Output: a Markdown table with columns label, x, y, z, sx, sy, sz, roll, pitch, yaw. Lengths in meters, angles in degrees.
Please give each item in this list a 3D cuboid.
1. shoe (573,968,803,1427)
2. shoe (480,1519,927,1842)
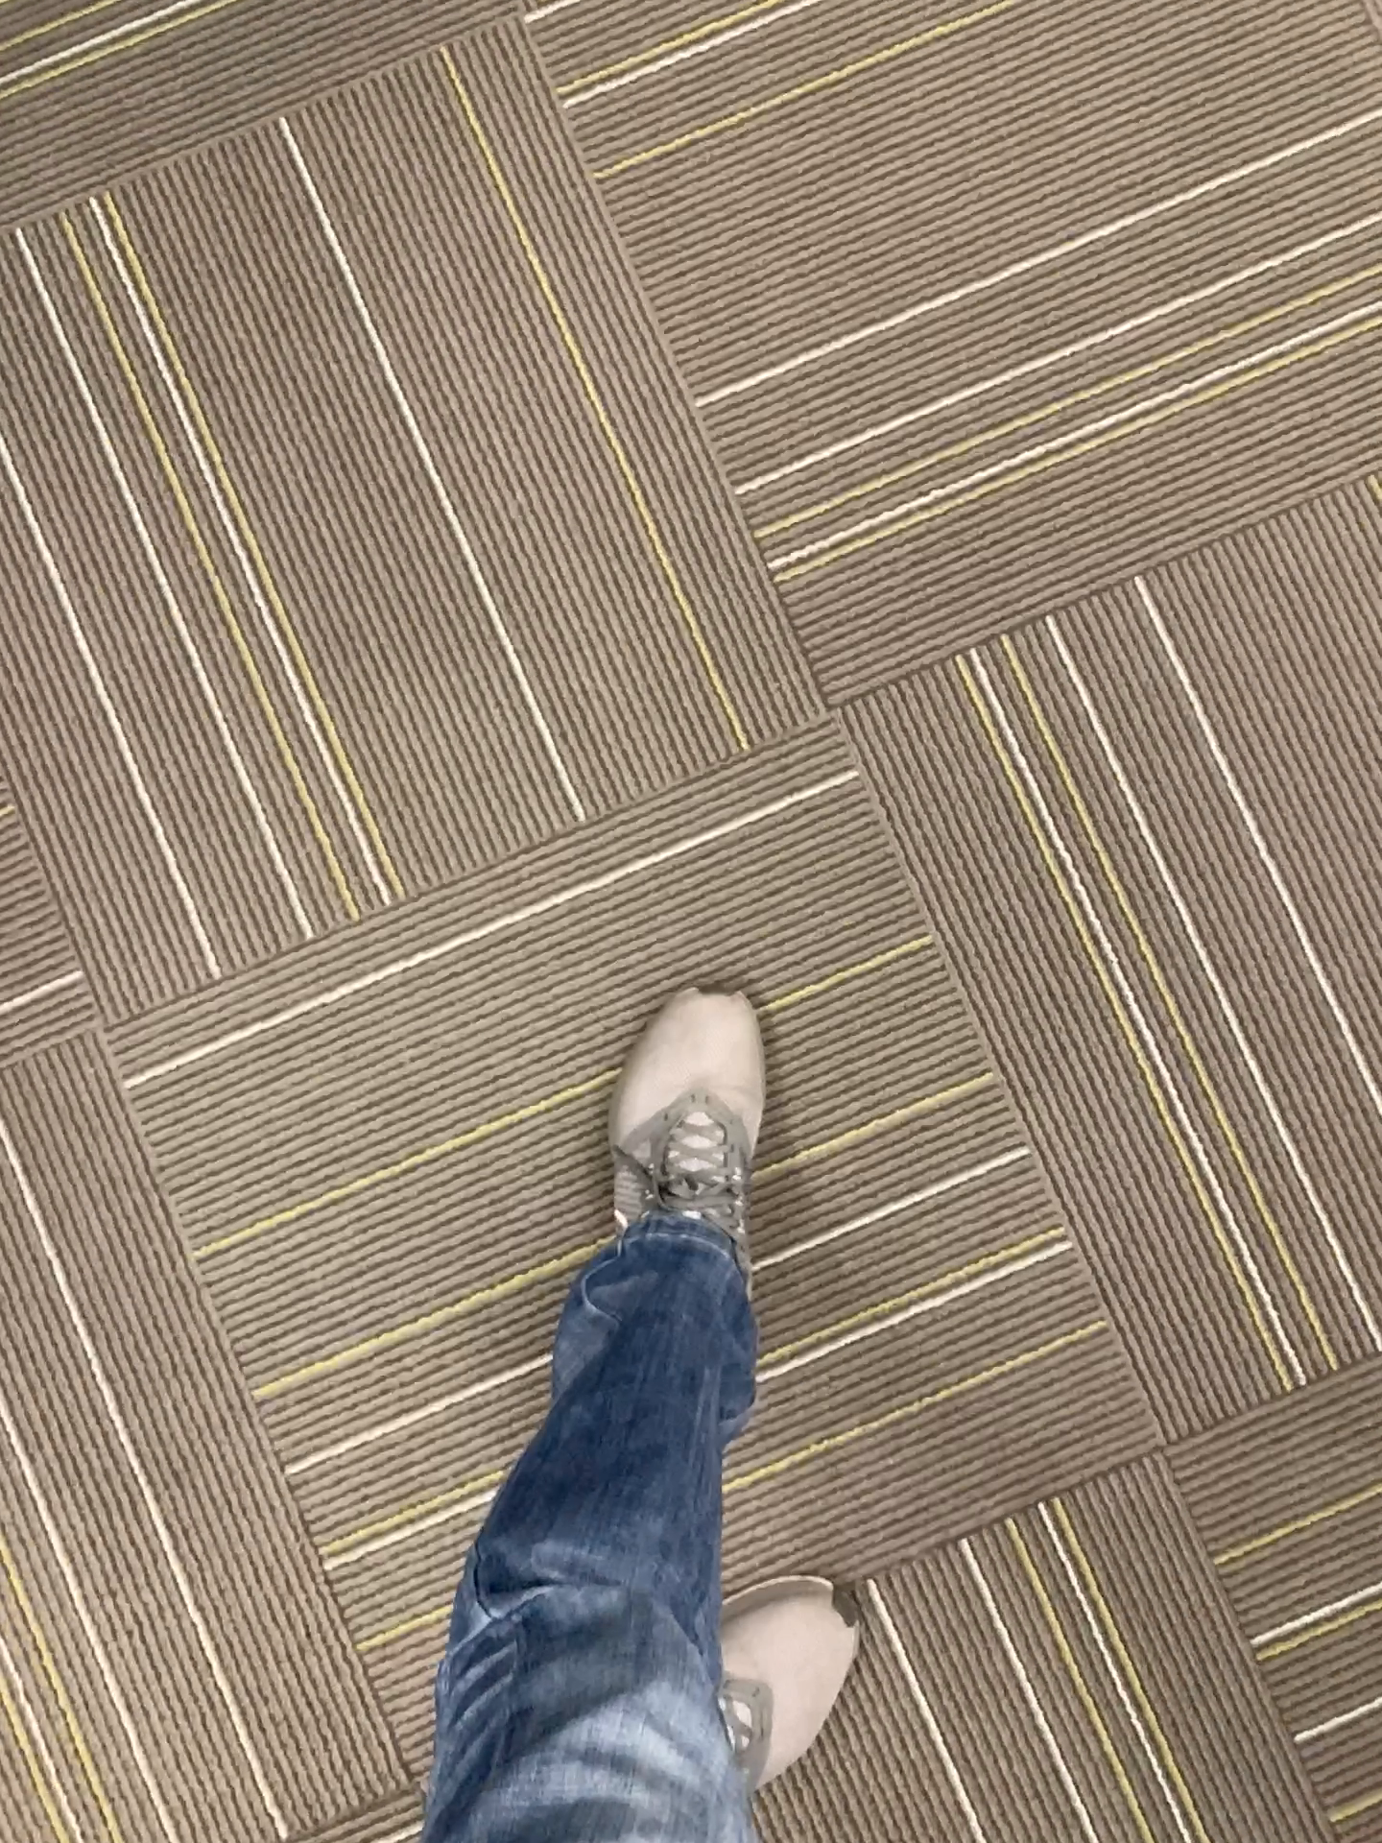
| label | x | y | z | sx | sy | sz | roll | pitch | yaw |
| --- | --- | --- | --- | --- | --- | --- | --- | --- | --- |
| shoe | -0.001 | 0.199 | 1.061 | 0.131 | 0.093 | 0.313 | 6 | 87 | 1 |
| shoe | 0.010 | 0.603 | 1.048 | 0.299 | 0.093 | 0.128 | -37 | 87 | -2 |
